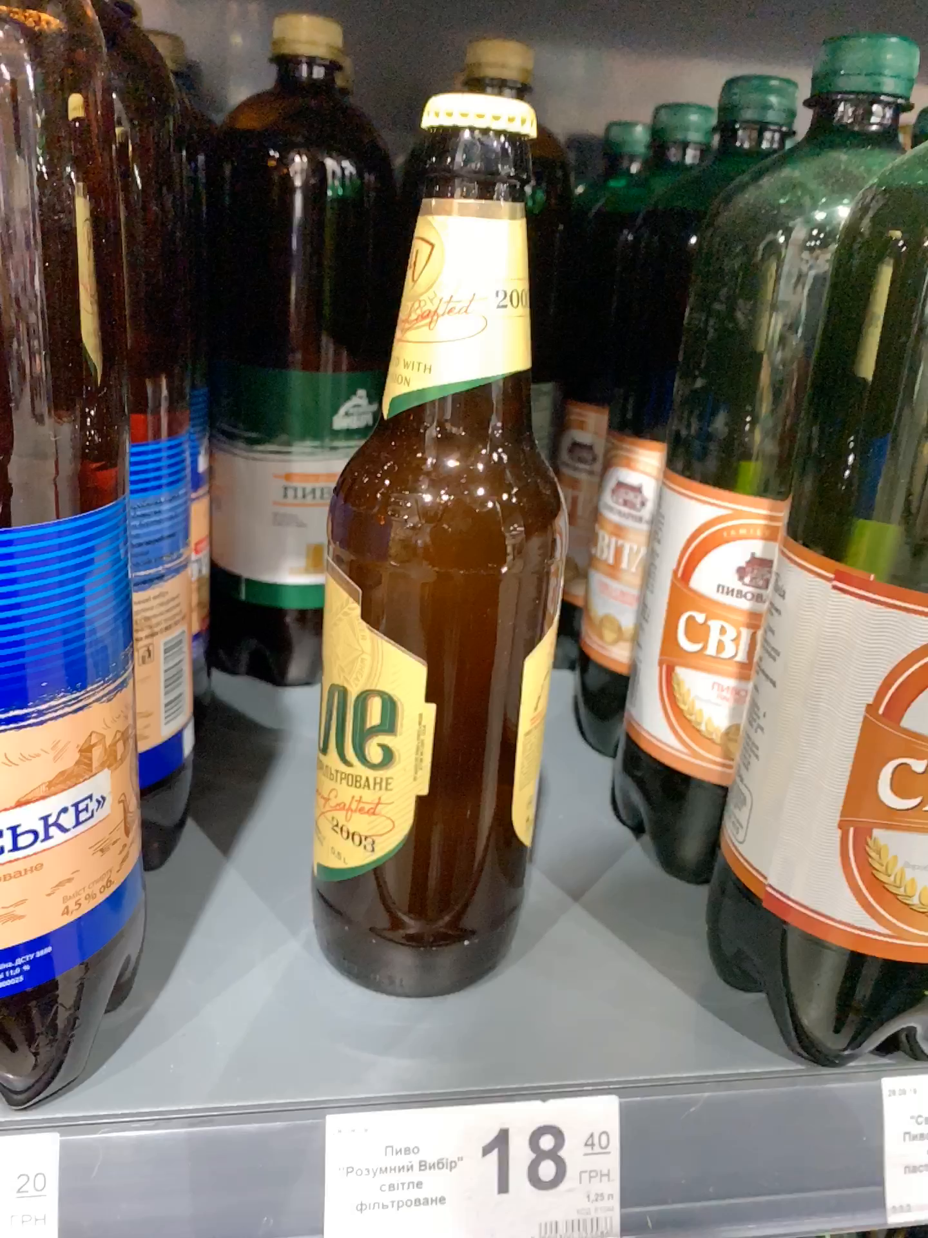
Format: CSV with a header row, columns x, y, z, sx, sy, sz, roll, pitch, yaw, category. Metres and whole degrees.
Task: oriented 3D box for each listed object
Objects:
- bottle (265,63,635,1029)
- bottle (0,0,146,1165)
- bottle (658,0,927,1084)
x,y,z,sx,sy,sz,roll,pitch,yaw,category
-0.015,-0.012,0.282,0.070,0.248,0.069,4,20,-2,bottle
-0.119,-0.024,0.213,0.084,0.283,0.070,-2,21,-17,bottle
0.123,-0.014,0.258,0.084,0.277,0.070,1,21,-9,bottle
